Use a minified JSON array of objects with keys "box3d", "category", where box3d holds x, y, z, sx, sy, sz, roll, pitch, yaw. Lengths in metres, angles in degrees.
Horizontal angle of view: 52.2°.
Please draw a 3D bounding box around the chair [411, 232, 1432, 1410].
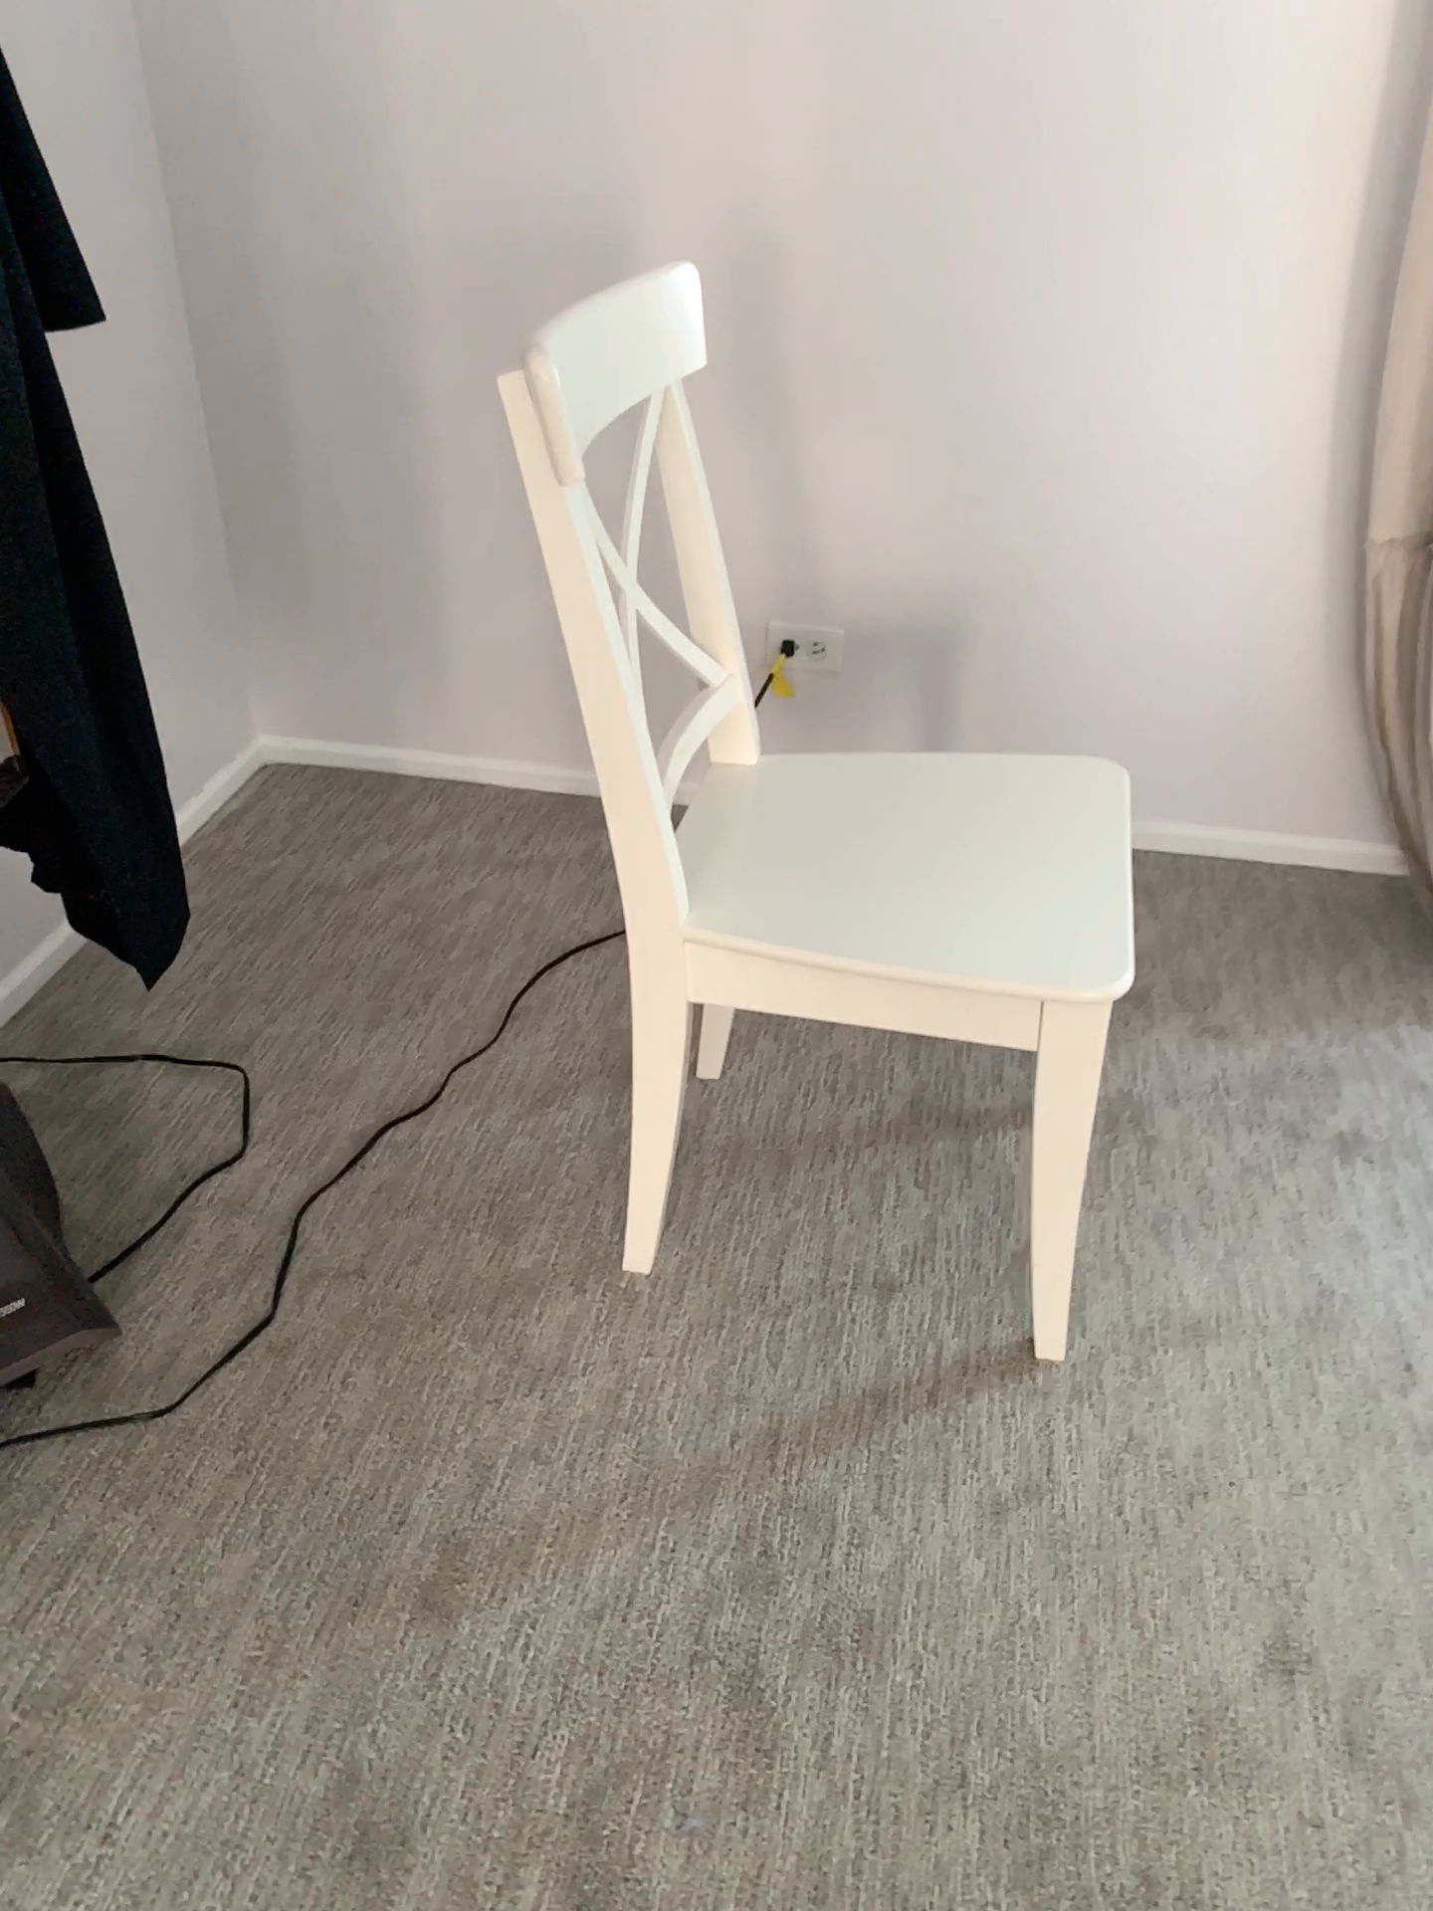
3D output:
[{"box3d":[0.159,-0.153,1.269,0.570,0.765,0.614,7,34,10],"category":"chair"}]
